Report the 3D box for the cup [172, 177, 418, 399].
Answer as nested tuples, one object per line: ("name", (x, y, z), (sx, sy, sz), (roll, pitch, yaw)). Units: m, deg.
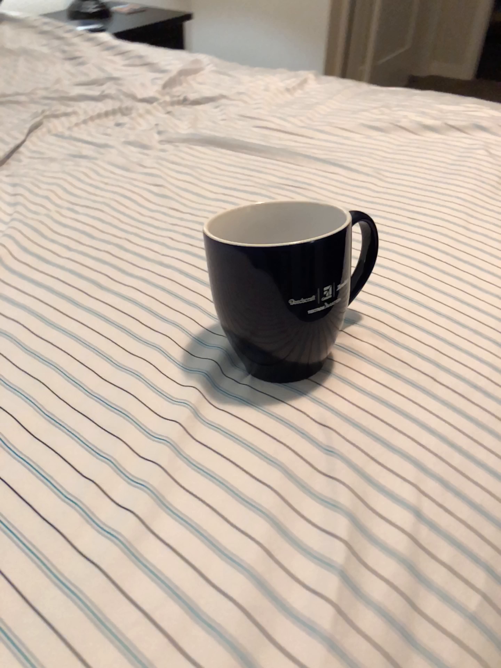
("cup", (0.031, -0.039, 0.380), (0.130, 0.090, 0.090), (-24, 36, -29))
